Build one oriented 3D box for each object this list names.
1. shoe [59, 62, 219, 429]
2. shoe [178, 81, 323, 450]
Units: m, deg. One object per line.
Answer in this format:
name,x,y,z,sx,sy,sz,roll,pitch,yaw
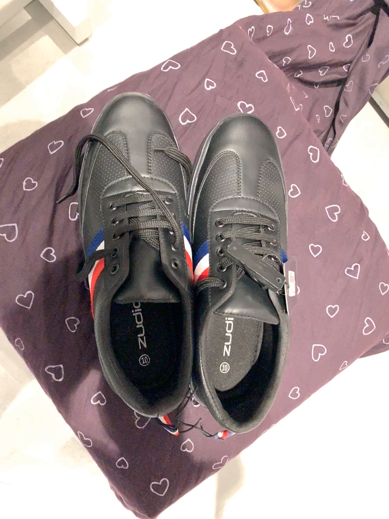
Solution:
shoe,-0.056,-0.016,0.389,0.120,0.090,0.310,-3,86,-10
shoe,0.049,0.004,0.372,0.110,0.080,0.300,2,85,-10
